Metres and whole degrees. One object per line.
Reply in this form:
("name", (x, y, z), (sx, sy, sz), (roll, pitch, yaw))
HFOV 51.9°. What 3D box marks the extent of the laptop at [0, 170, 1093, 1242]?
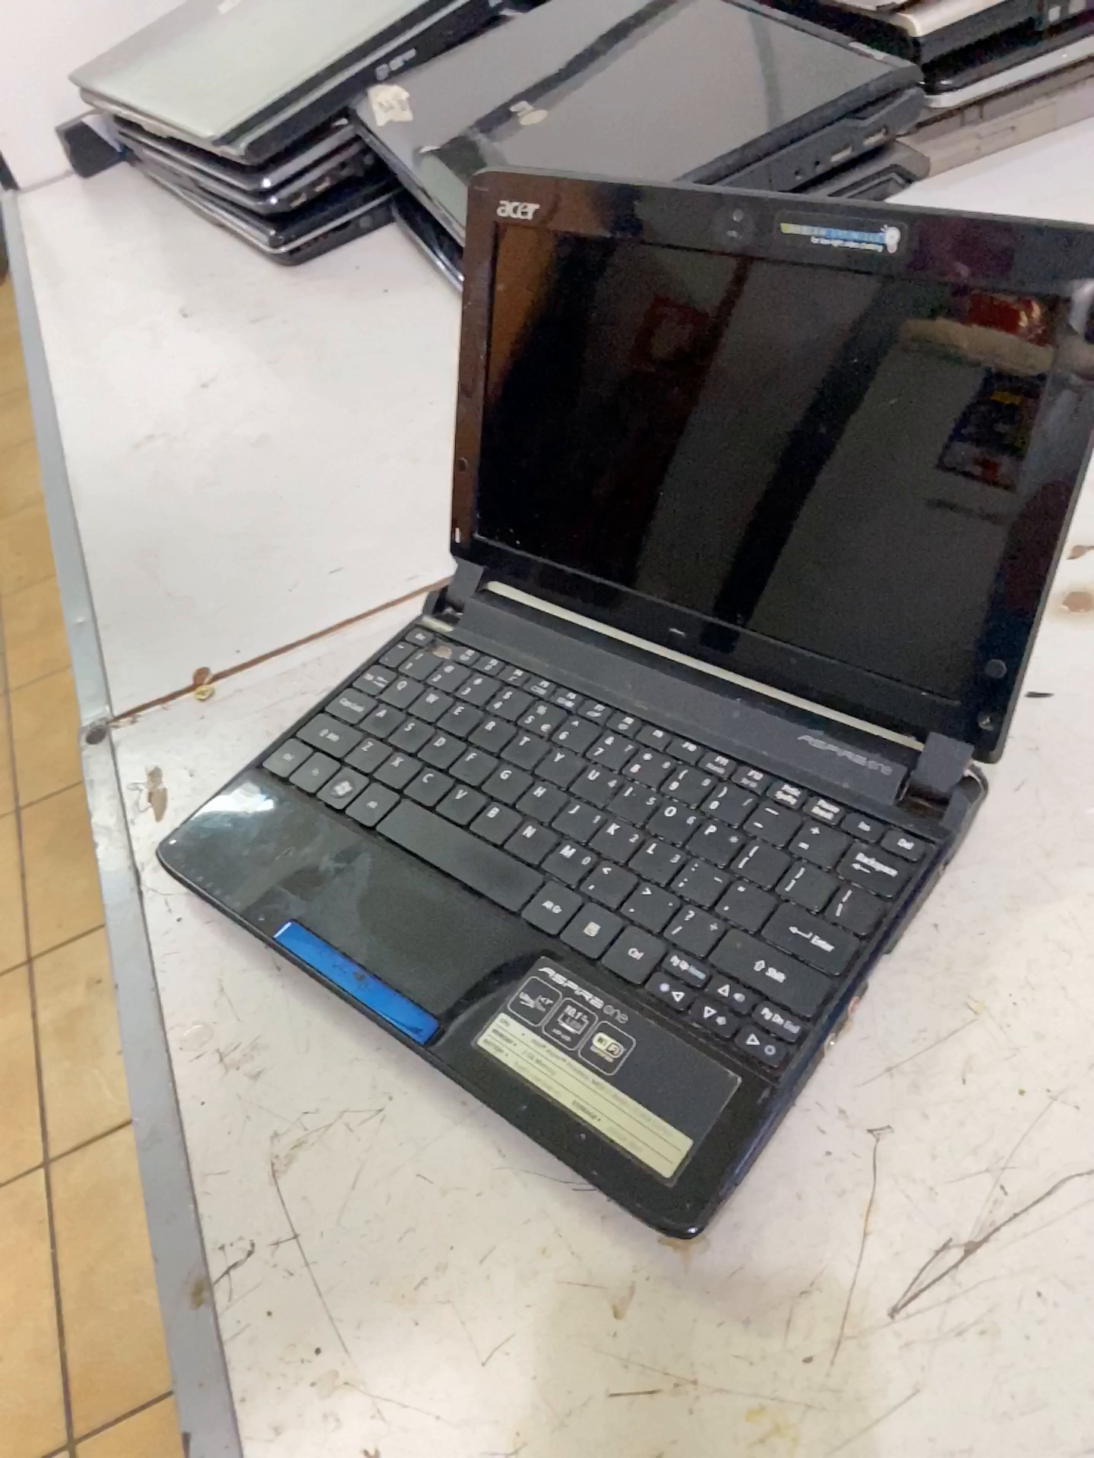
("laptop", (0.003, -0.044, 0.372), (0.253, 0.144, 0.260), (24, 59, 35))
